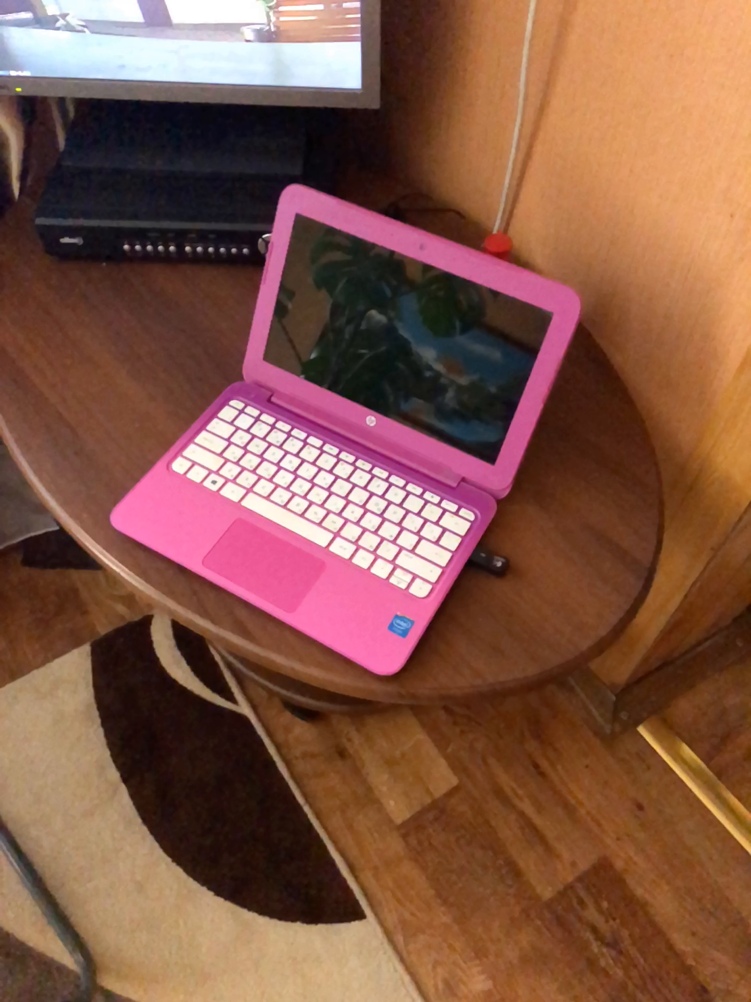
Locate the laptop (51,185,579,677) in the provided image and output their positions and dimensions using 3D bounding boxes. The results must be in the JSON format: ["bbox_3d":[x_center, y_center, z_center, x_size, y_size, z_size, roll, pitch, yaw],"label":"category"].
[{"bbox_3d":[-0.034,-0.073,0.677,0.279,0.150,0.296,26,59,17],"label":"laptop"}]
